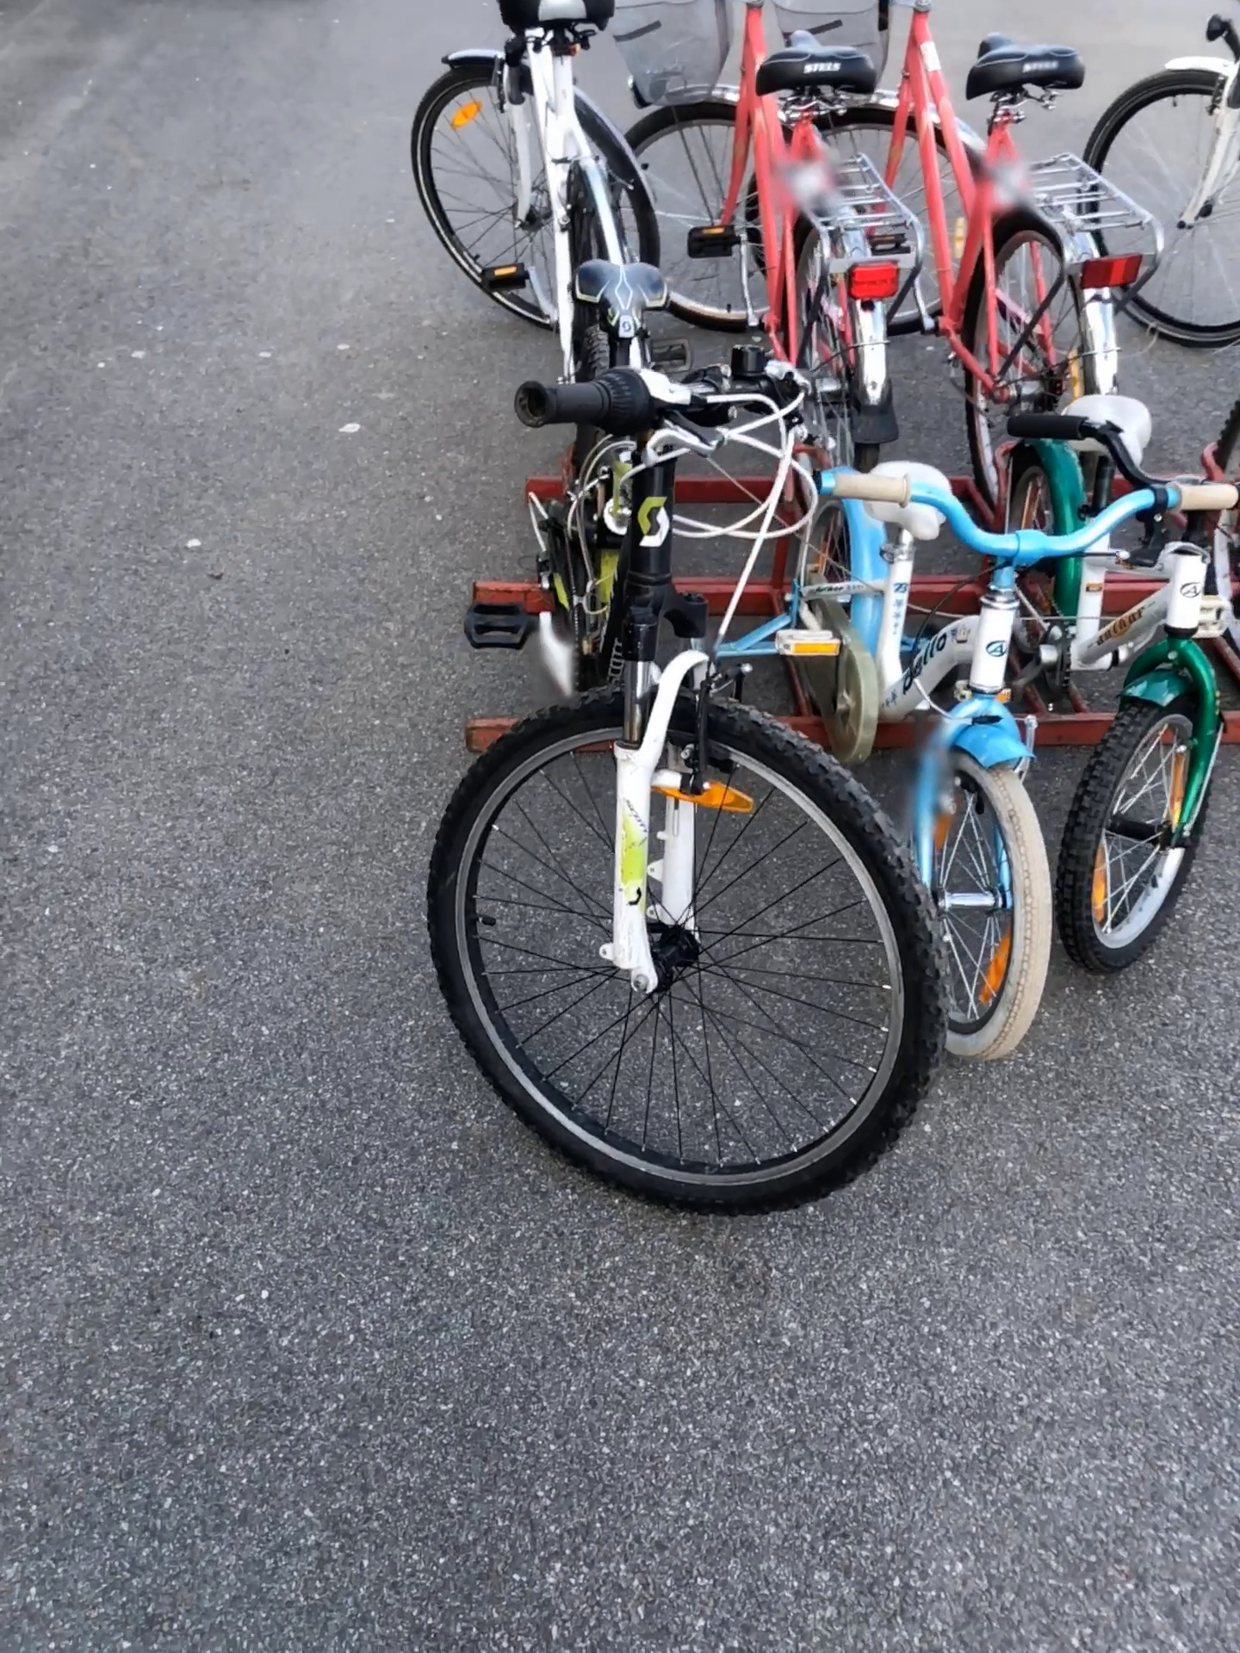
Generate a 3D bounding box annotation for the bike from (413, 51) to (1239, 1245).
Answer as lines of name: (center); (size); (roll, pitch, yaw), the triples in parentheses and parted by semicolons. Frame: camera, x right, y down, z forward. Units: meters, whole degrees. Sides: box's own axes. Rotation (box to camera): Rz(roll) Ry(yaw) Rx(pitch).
bike: (0.103, -0.325, 1.695); (0.528, 0.901, 1.380); (-5, 39, -12)
